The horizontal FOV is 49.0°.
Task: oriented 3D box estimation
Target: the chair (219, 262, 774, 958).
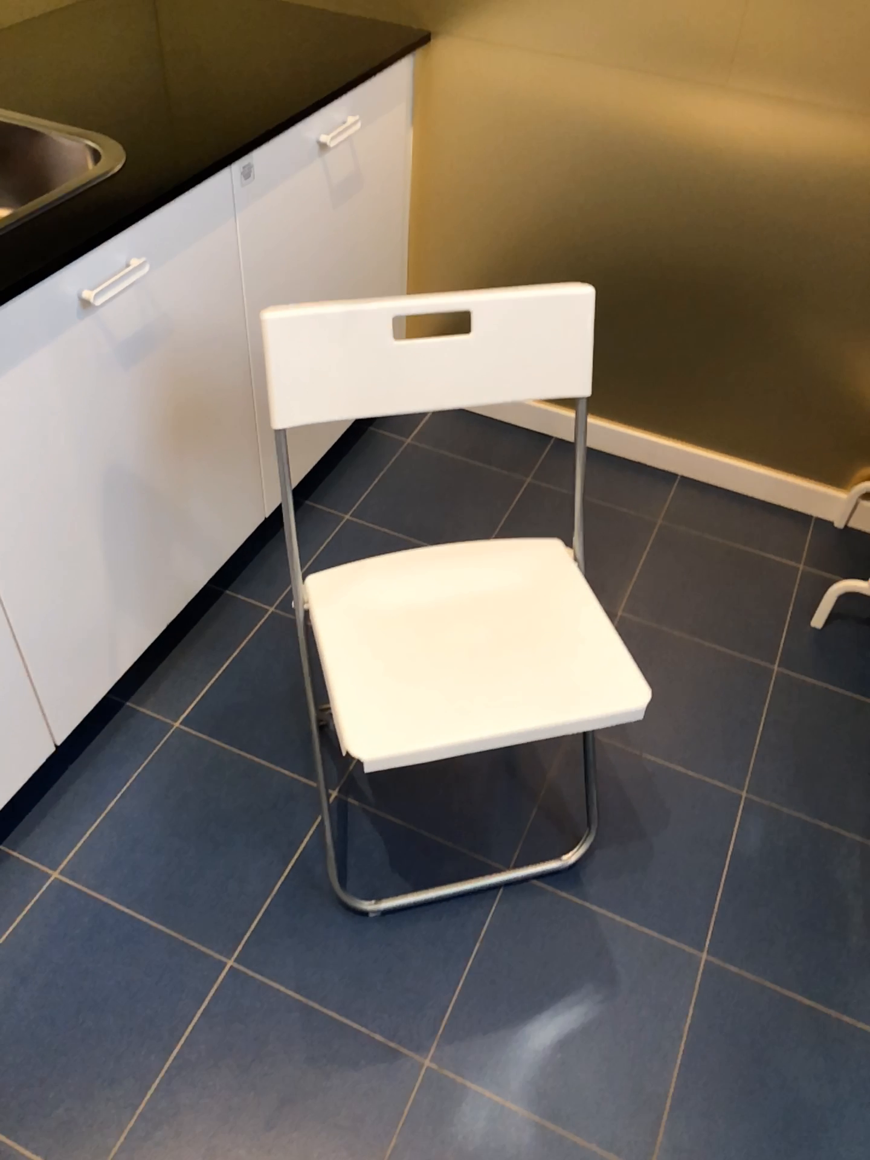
[{"bbox_3d":[0.014,0.057,1.343,0.490,0.775,0.523,-9,46,-13],"label":"chair"}]
